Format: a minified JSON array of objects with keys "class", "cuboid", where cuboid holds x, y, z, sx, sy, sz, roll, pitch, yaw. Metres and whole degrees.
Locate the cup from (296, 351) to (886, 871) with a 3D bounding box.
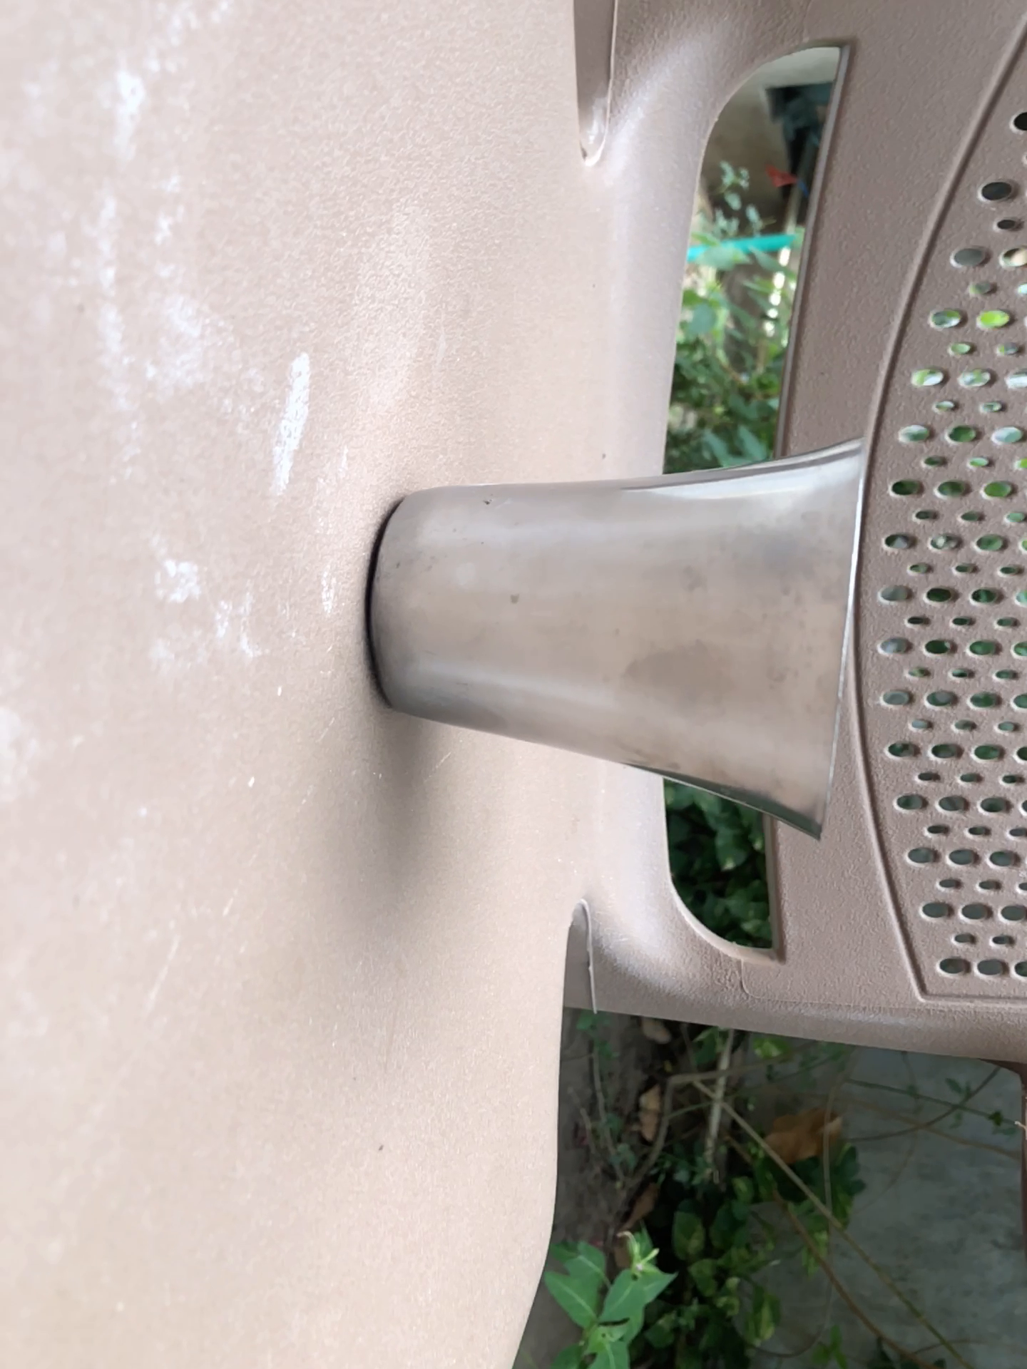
[{"class":"cup","cuboid":[0.024,-0.016,0.247,0.070,0.099,0.080,64,35,-57]}]
